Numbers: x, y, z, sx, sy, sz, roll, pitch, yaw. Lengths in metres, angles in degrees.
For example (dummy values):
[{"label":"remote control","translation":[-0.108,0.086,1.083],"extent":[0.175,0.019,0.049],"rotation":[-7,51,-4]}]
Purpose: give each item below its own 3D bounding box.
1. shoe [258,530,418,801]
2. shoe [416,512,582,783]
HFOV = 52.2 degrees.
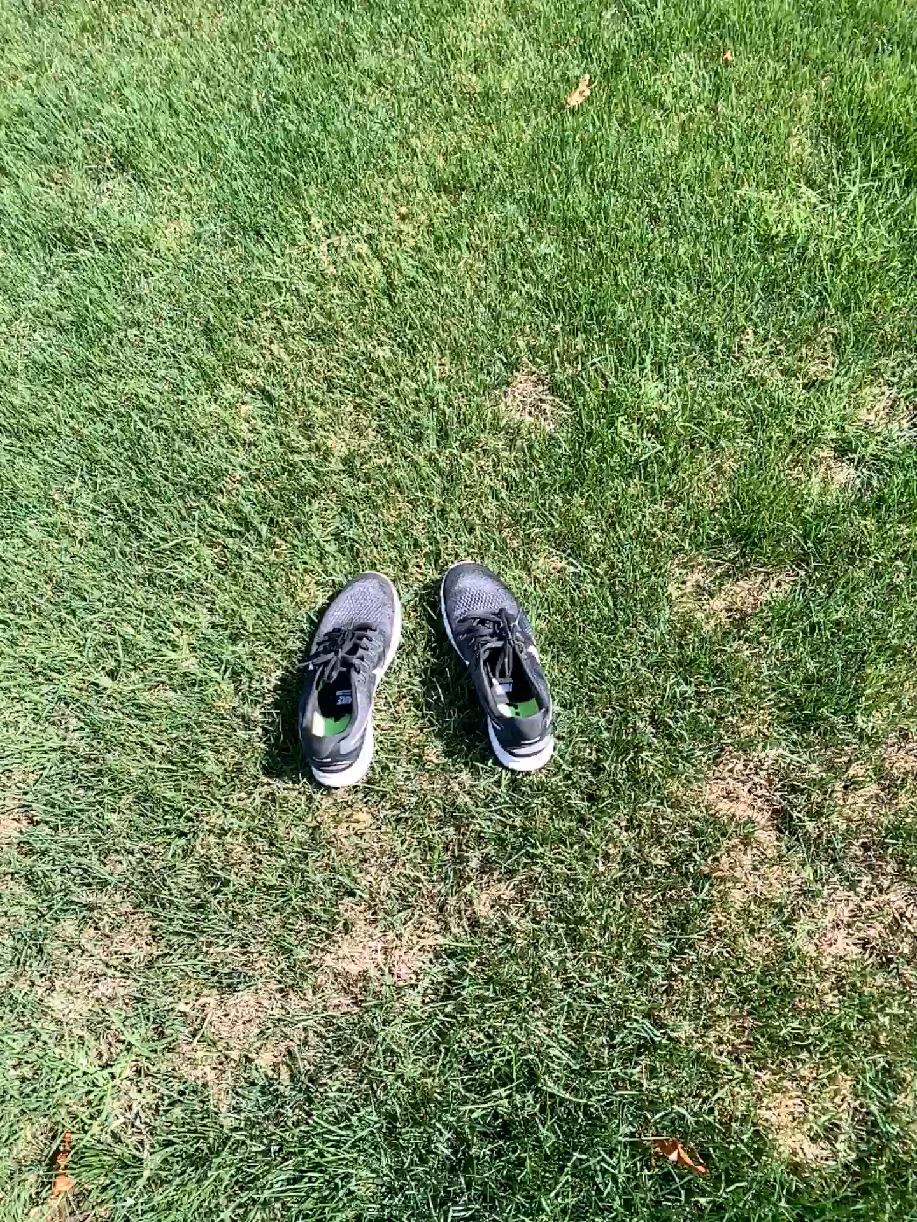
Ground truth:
[{"label":"shoe","translation":[-0.133,0.064,1.104],"extent":[0.100,0.130,0.280],"rotation":[7,66,9]},{"label":"shoe","translation":[0.045,0.043,1.090],"extent":[0.100,0.130,0.271],"rotation":[-19,64,-3]}]
